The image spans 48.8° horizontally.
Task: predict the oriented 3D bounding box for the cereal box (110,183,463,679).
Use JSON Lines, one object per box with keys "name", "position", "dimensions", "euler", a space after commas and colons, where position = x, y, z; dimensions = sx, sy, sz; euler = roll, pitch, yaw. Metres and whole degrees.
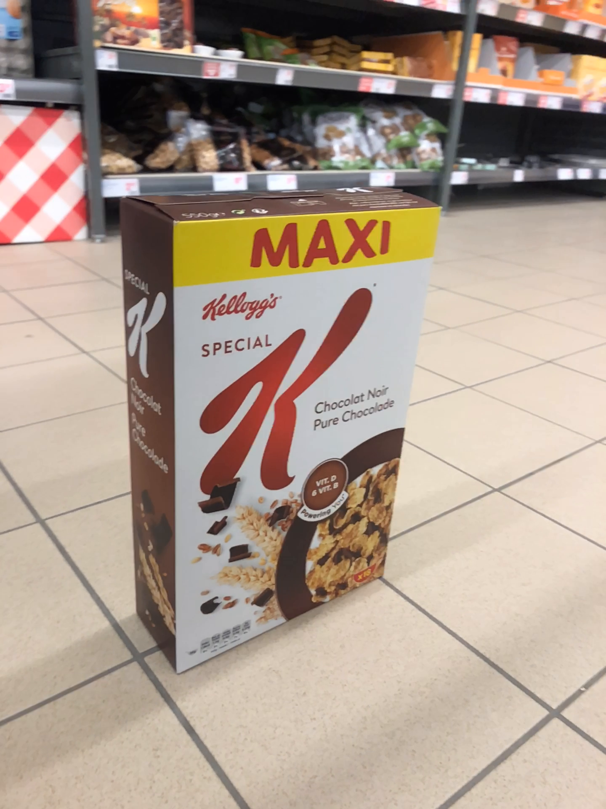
{"name": "cereal box", "position": [-0.012, 0.010, 0.460], "dimensions": [0.211, 0.298, 0.070], "euler": [-14, 31, -36]}
